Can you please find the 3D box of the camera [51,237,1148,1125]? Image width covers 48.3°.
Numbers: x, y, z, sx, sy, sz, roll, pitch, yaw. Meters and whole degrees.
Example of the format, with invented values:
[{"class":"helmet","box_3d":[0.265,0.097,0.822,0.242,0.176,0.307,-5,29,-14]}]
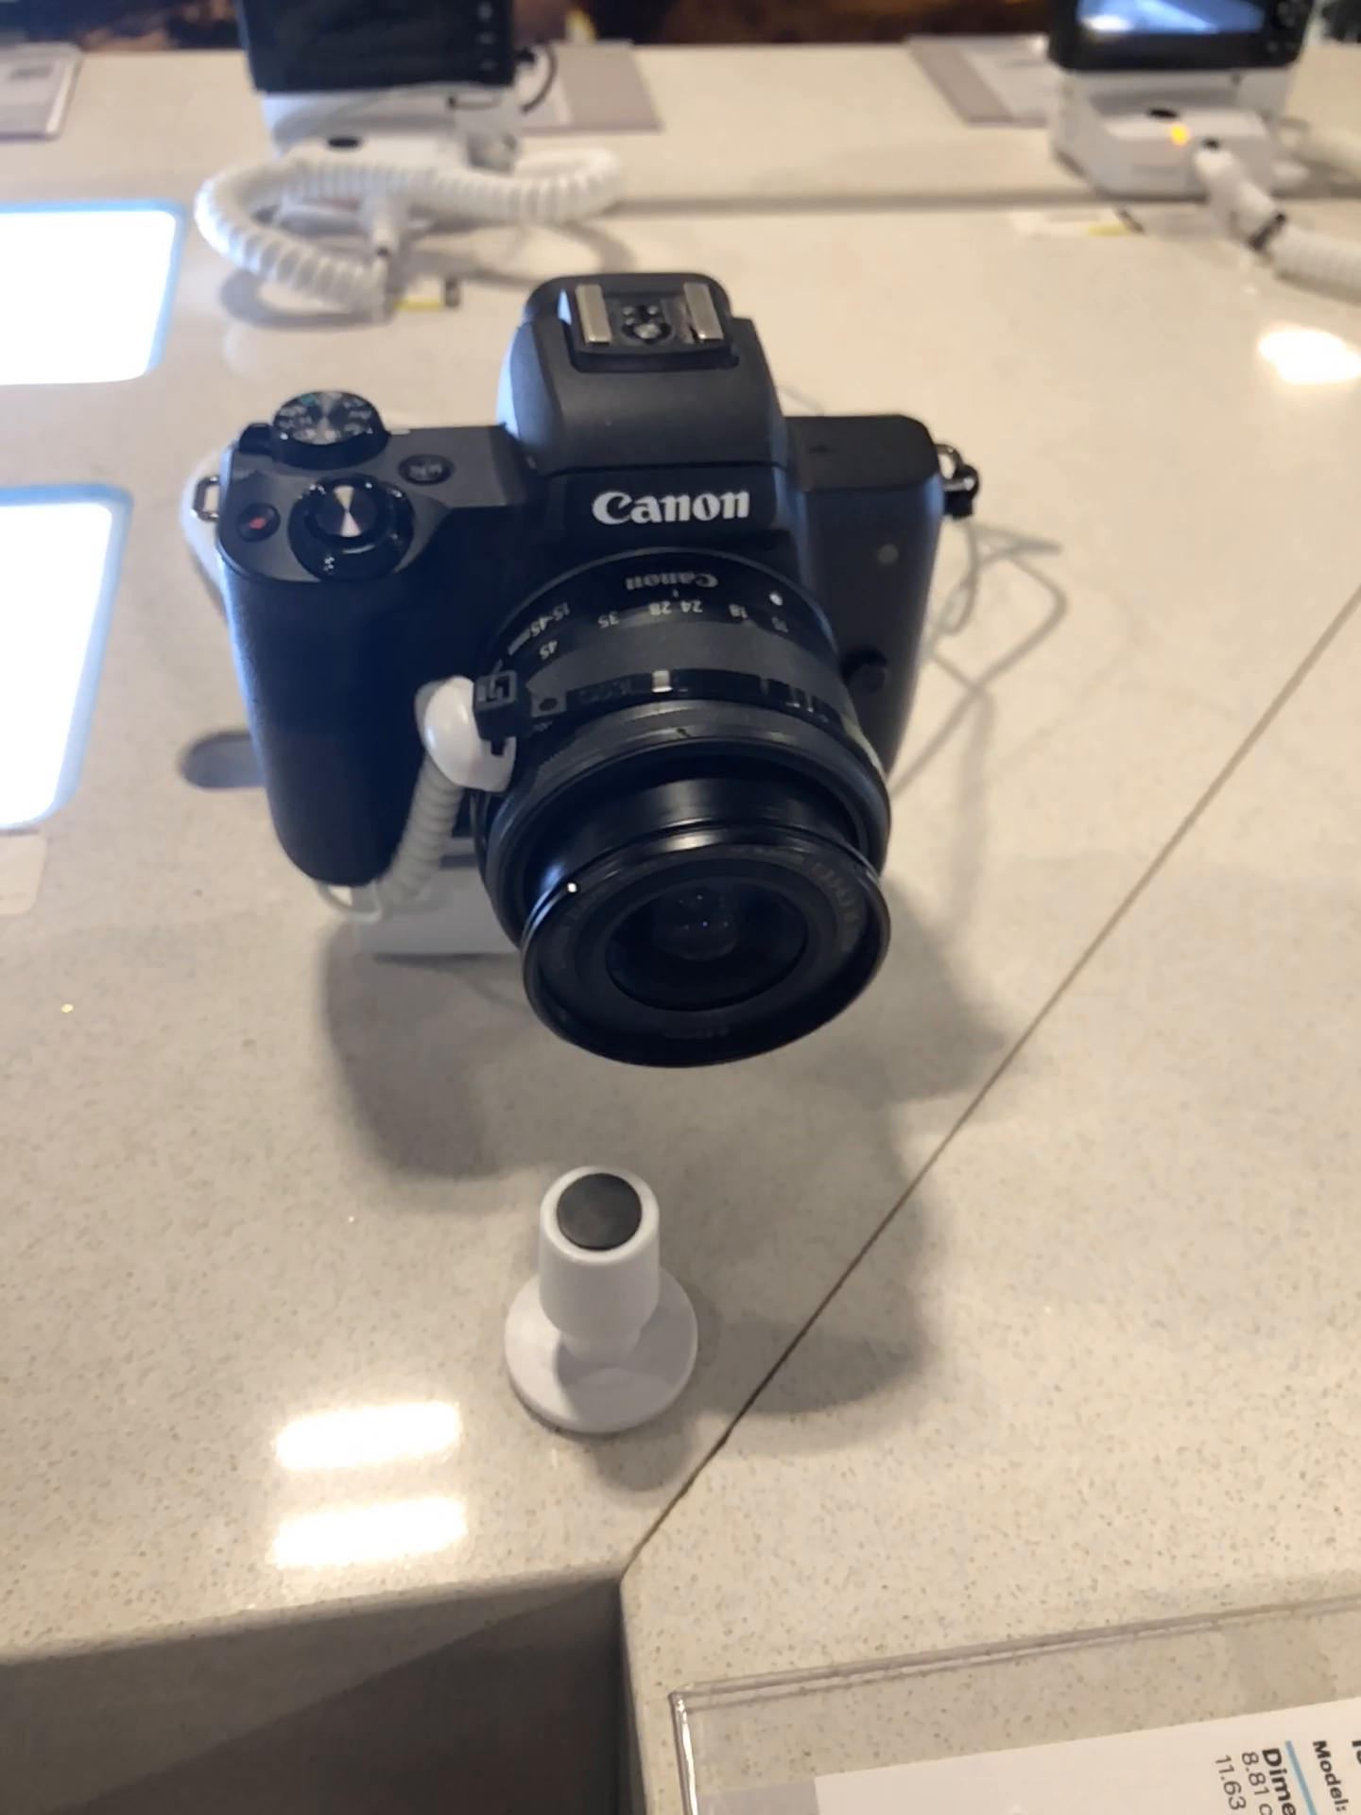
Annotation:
[{"class":"camera","box_3d":[-0.017,-0.044,0.249,0.130,0.079,0.121,-5,45,-7]}]
